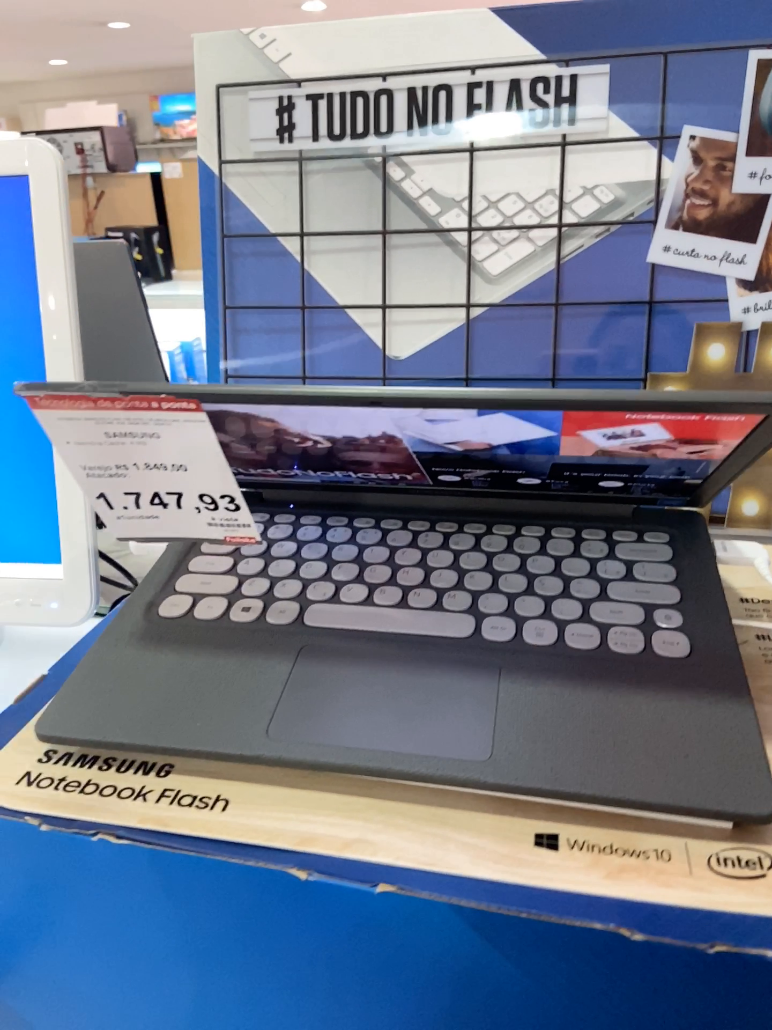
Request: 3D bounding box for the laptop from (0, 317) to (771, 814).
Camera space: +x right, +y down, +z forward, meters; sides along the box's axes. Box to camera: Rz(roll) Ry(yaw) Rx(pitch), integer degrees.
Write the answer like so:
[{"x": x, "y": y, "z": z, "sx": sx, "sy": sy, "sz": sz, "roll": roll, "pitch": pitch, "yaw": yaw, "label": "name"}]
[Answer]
[{"x": 0.009, "y": -0.002, "z": 0.403, "sx": 0.323, "sy": 0.114, "sz": 0.212, "roll": 2, "pitch": 31, "yaw": 12, "label": "laptop"}]
